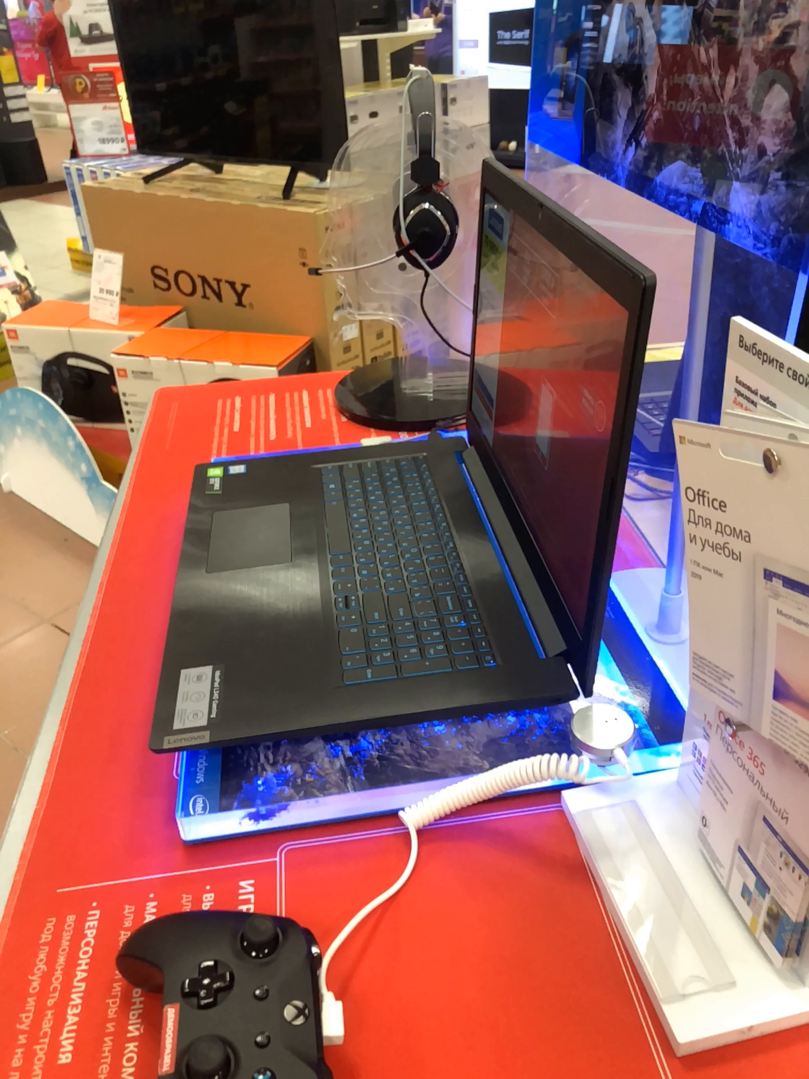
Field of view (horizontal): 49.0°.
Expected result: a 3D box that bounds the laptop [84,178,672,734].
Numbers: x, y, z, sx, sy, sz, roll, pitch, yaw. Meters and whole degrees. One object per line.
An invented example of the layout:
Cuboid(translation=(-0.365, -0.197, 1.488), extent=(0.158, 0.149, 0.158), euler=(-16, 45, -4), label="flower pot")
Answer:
Cuboid(translation=(-0.029, -0.101, 0.683), extent=(0.294, 0.255, 0.406), euler=(-7, 28, -3), label="laptop")
